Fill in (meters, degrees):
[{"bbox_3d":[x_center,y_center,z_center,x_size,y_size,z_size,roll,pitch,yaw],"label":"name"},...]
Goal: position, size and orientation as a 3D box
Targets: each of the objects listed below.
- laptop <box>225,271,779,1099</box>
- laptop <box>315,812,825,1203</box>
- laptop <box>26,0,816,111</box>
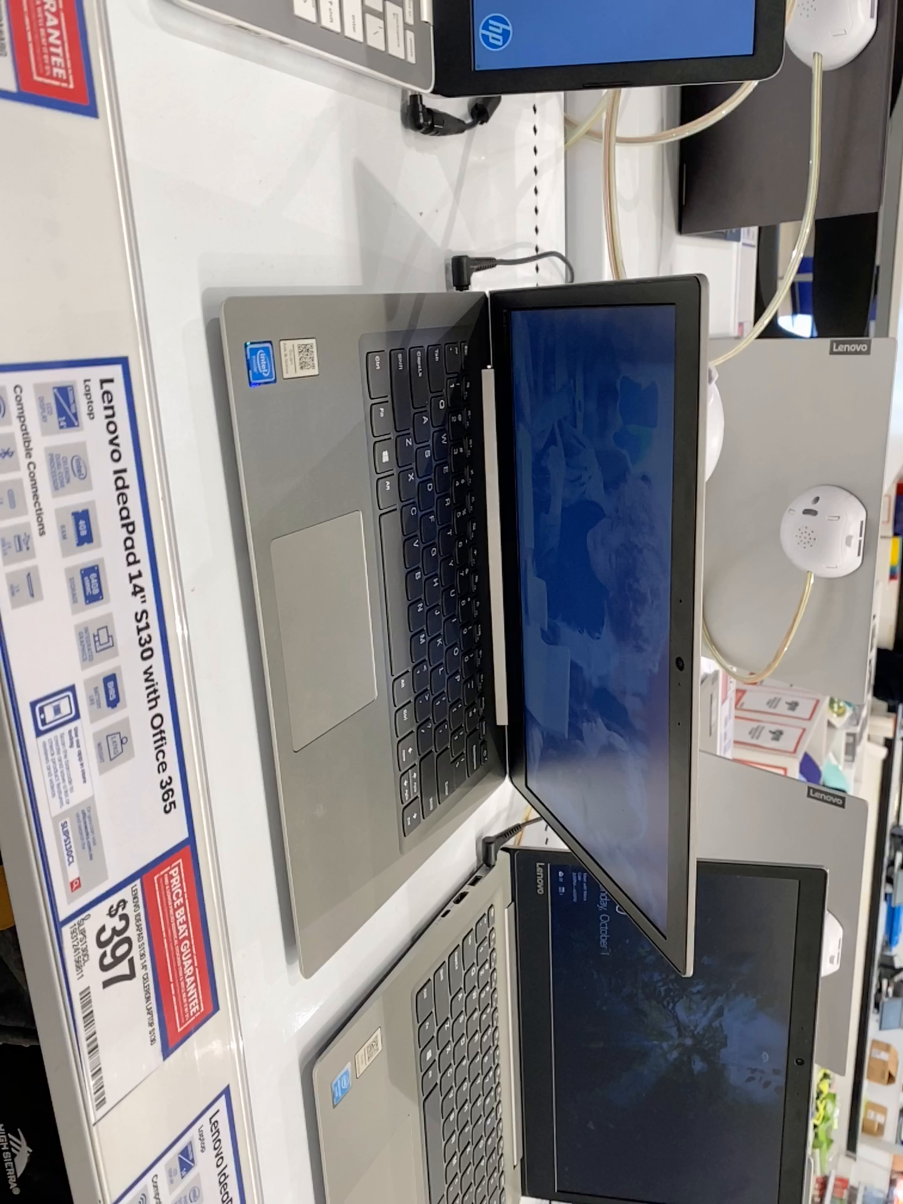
[{"bbox_3d":[0.048,0.013,0.477,0.231,0.170,0.330,-30,122,-56],"label":"laptop"},{"bbox_3d":[0.104,0.374,0.619,0.311,0.215,0.329,-29,121,-57],"label":"laptop"},{"bbox_3d":[0.029,-0.397,0.373,0.286,0.155,0.304,-27,118,-55],"label":"laptop"}]
